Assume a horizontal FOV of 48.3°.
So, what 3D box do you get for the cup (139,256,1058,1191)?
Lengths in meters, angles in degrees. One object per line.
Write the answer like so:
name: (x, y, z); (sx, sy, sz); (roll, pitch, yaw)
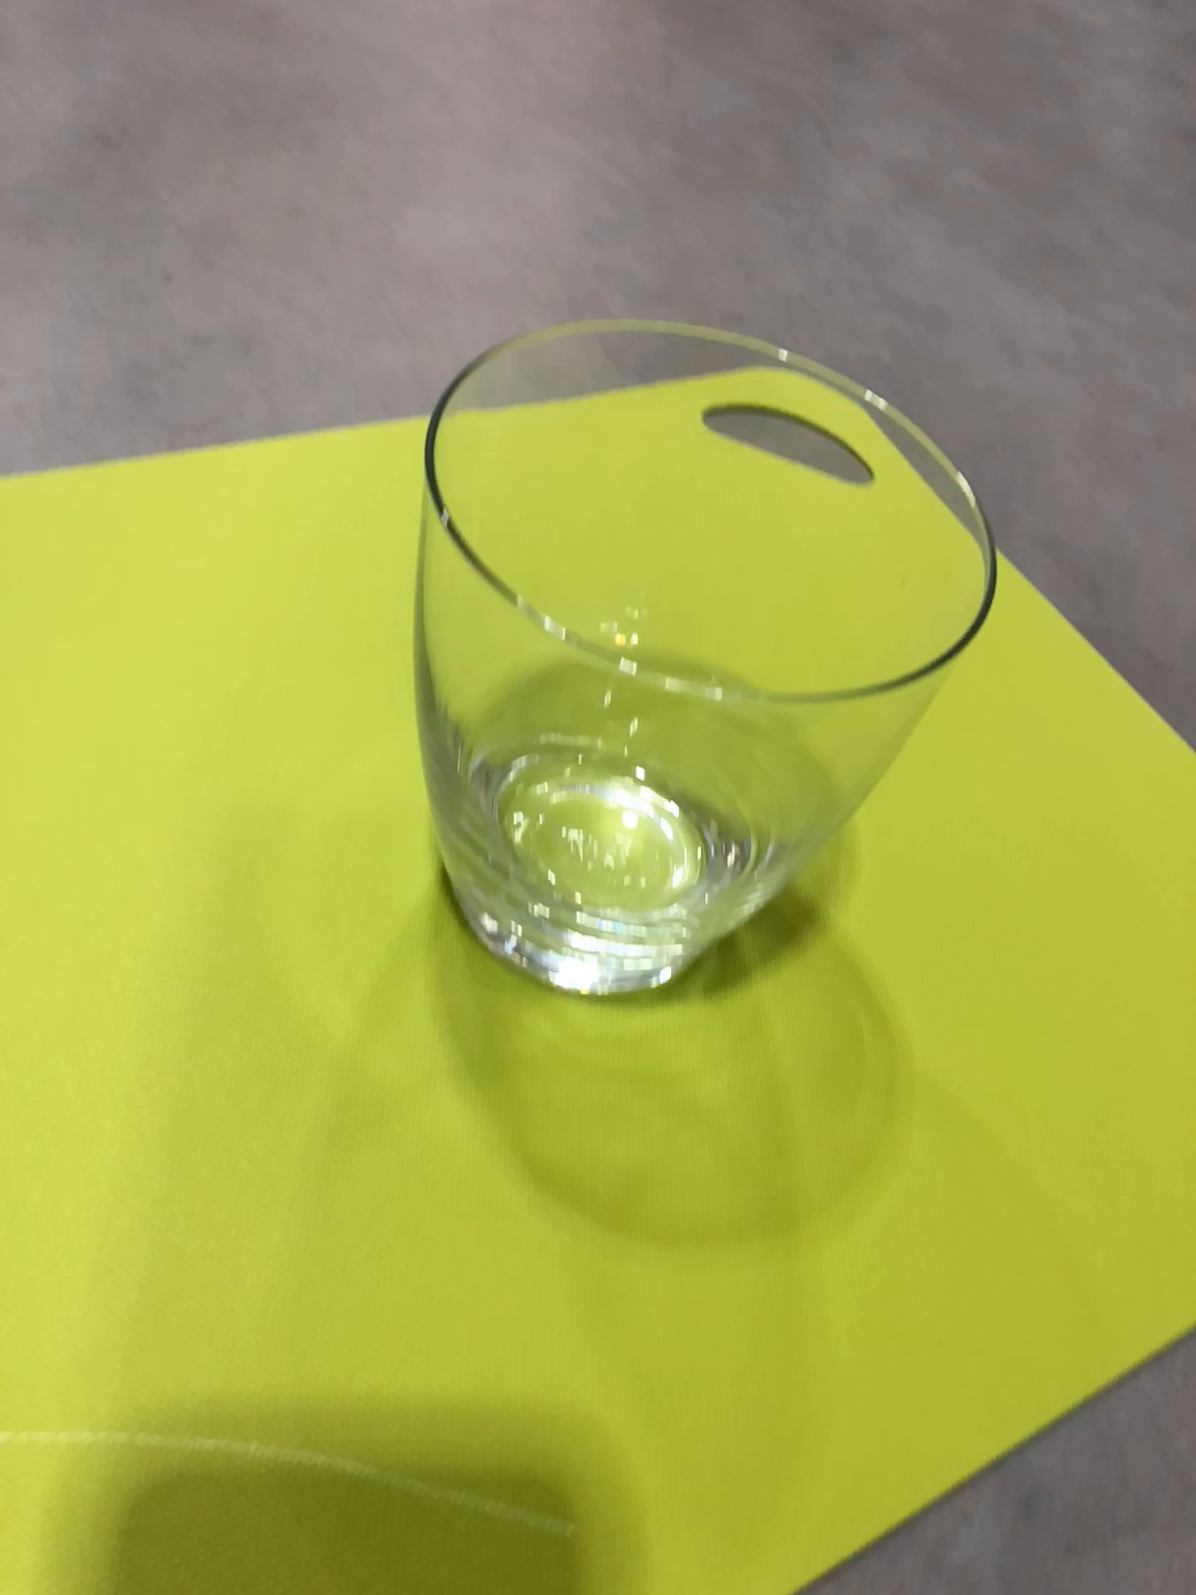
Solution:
cup: (-0.001, -0.019, 0.251); (0.110, 0.090, 0.110); (7, 49, -9)
